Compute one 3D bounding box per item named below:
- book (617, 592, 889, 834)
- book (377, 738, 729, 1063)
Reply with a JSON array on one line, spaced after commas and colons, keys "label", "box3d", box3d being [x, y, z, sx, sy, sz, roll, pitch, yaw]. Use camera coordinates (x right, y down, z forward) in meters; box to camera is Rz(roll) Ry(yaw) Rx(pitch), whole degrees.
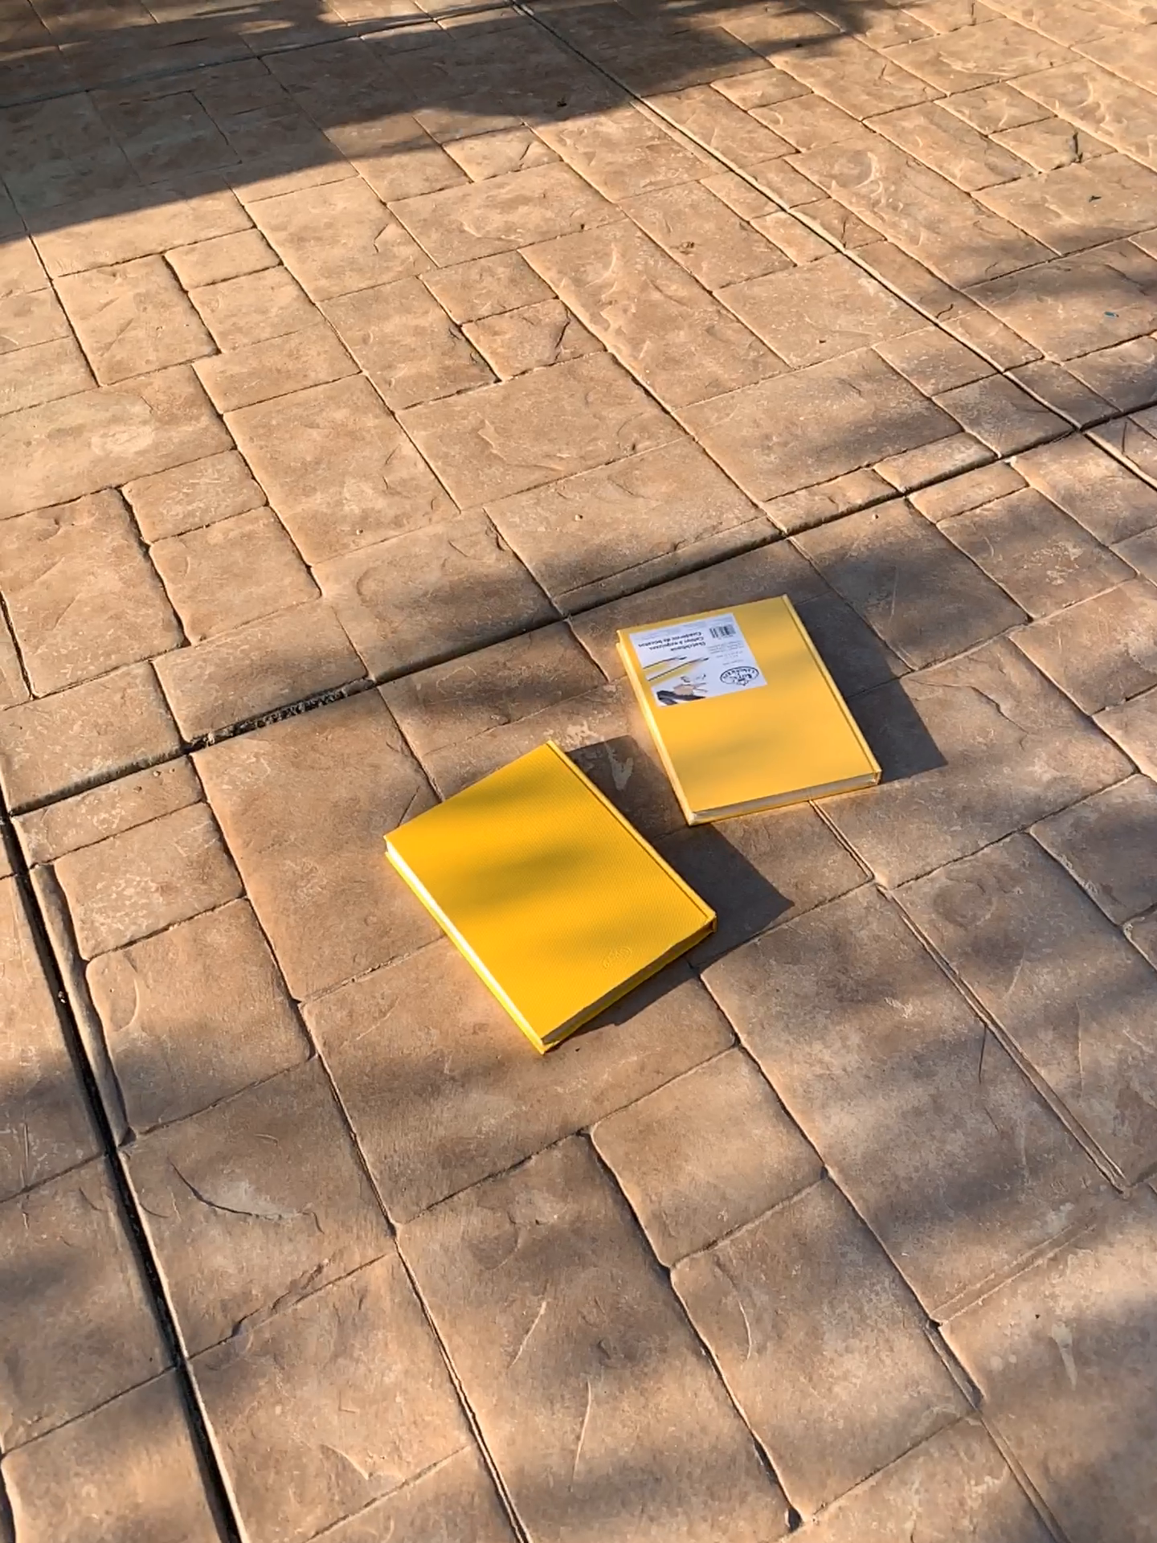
[{"label": "book", "box3d": [0.188, -0.074, 1.328, 0.220, 0.030, 0.274, -13, 55, -9]}, {"label": "book", "box3d": [-0.030, 0.115, 1.182, 0.220, 0.030, 0.289, -31, 57, -22]}]
